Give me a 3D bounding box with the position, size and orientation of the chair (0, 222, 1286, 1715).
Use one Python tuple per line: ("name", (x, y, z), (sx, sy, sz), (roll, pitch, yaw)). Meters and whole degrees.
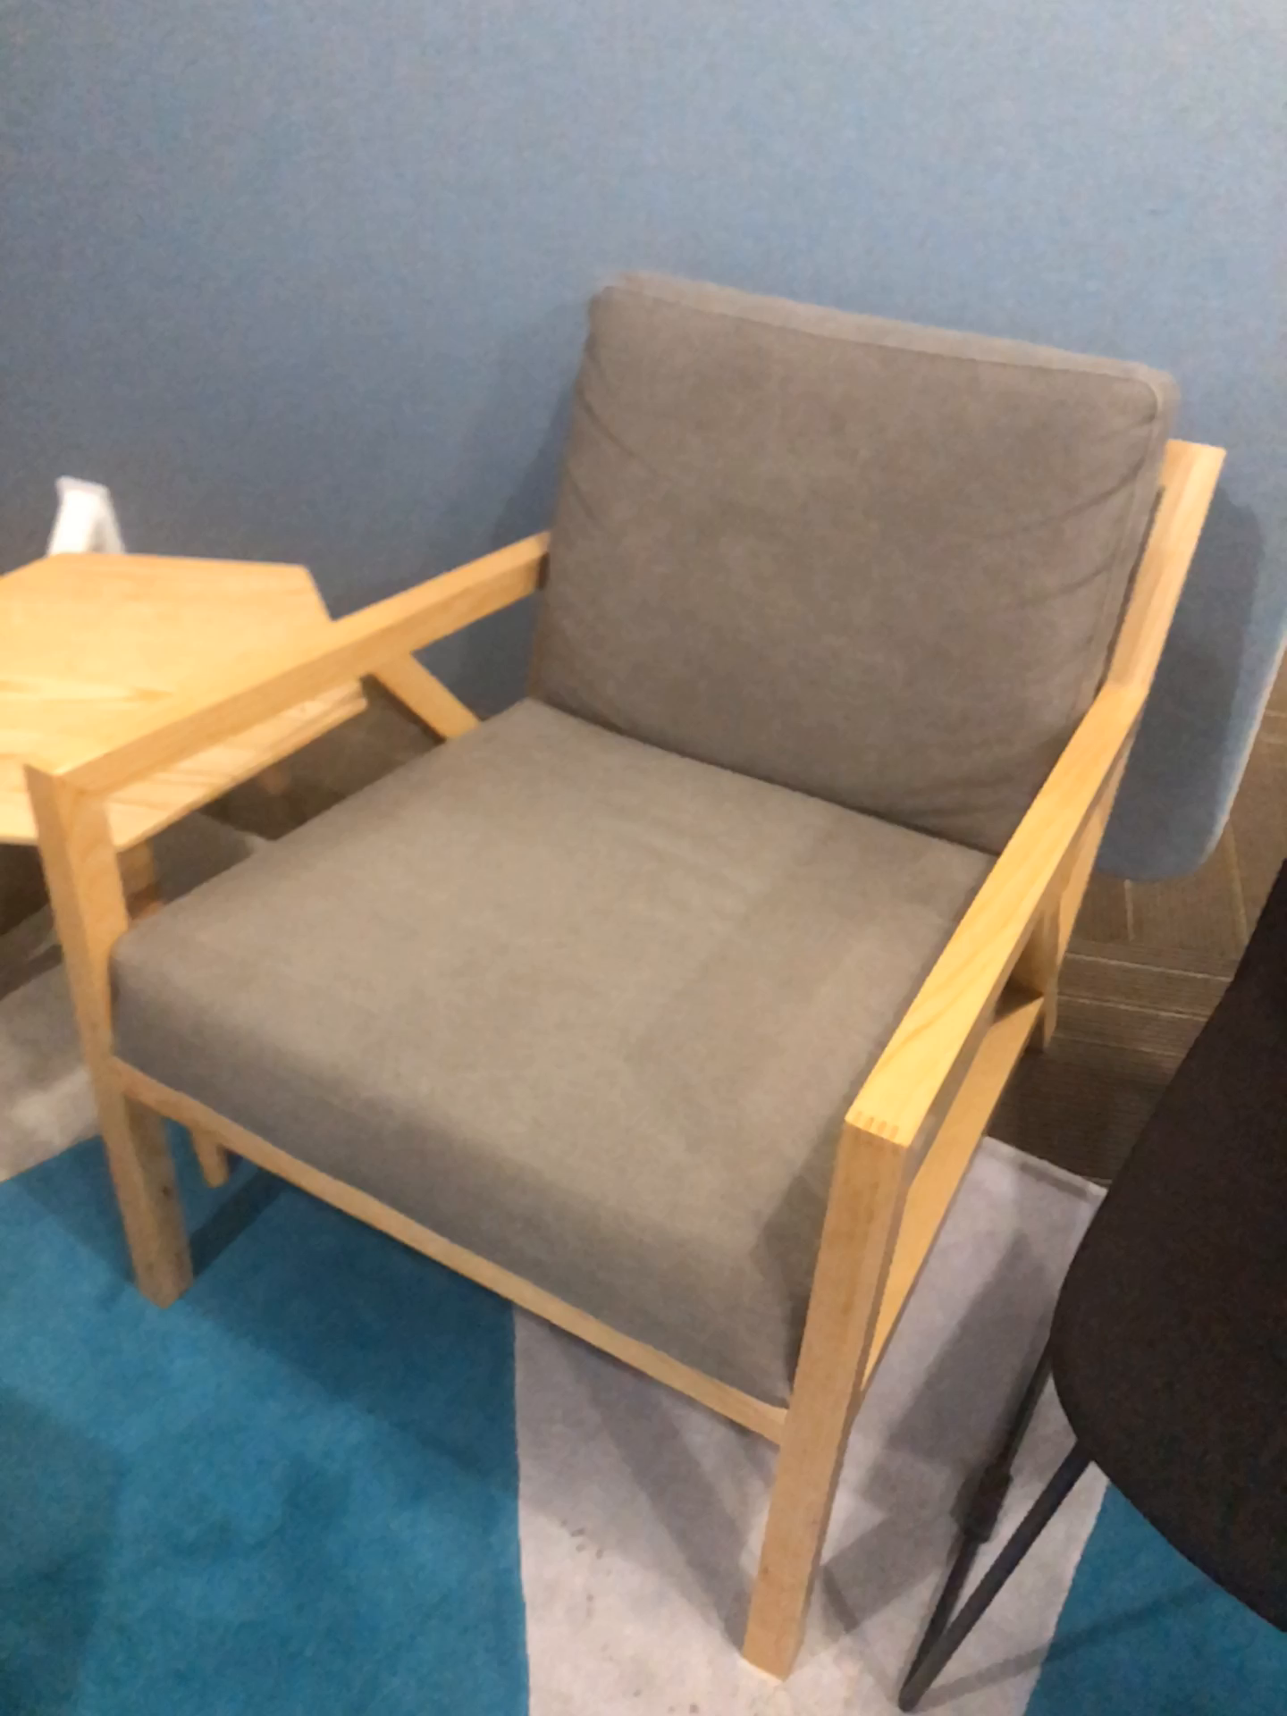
("chair", (0.003, 0.019, 1.198), (0.710, 0.744, 0.847), (20, 44, 23))
